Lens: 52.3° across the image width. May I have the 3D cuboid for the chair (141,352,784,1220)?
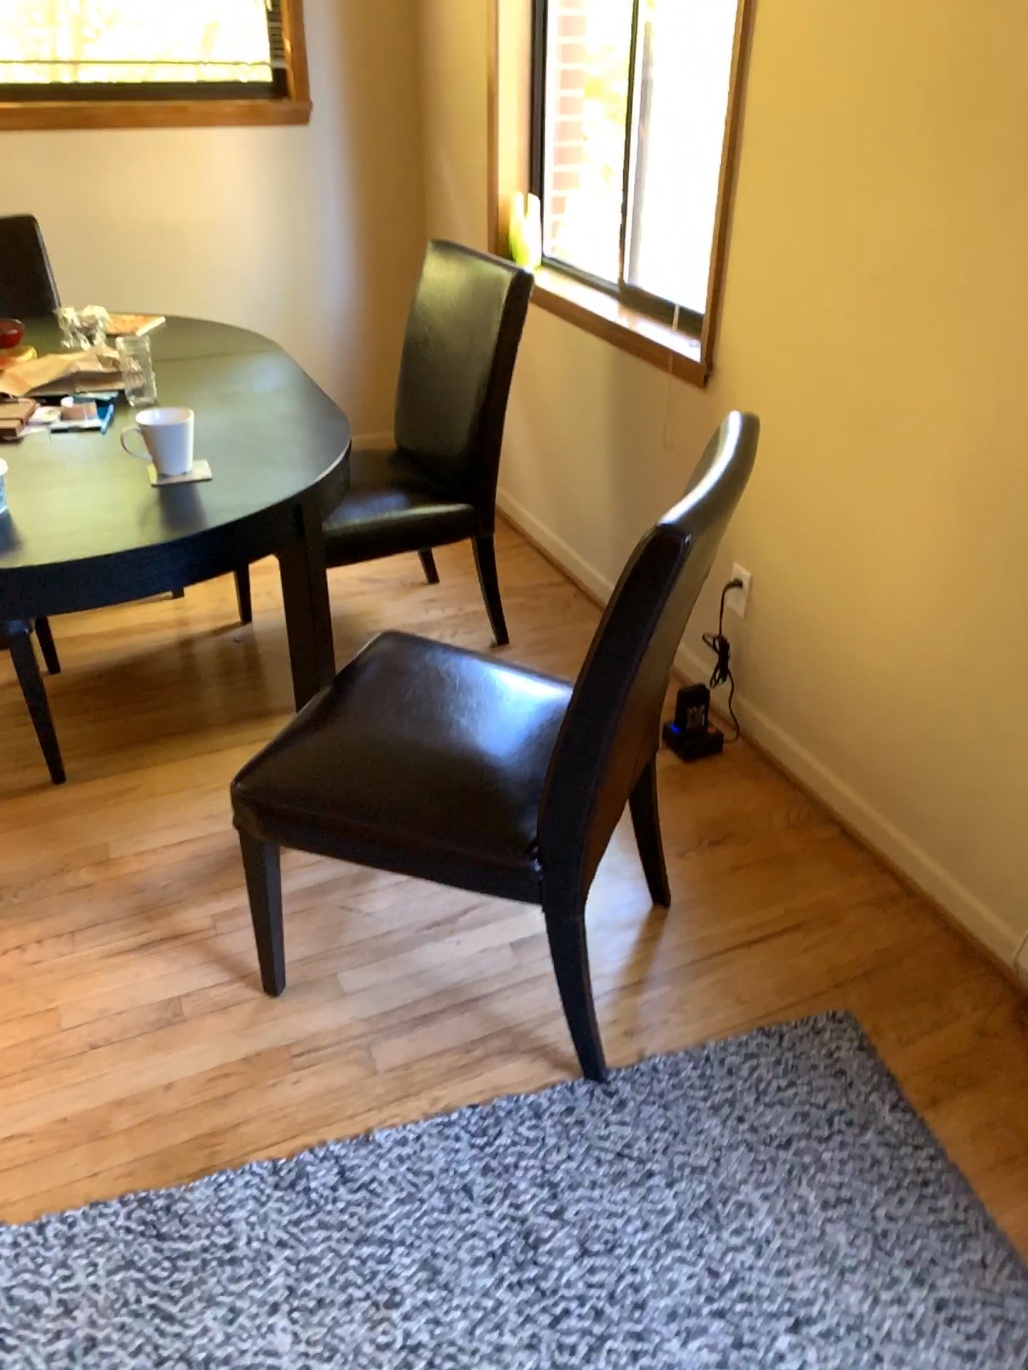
[{"bbox_3d":[-0.024,0.136,1.644,0.651,1.083,0.623,11,33,16],"label":"chair"}]
